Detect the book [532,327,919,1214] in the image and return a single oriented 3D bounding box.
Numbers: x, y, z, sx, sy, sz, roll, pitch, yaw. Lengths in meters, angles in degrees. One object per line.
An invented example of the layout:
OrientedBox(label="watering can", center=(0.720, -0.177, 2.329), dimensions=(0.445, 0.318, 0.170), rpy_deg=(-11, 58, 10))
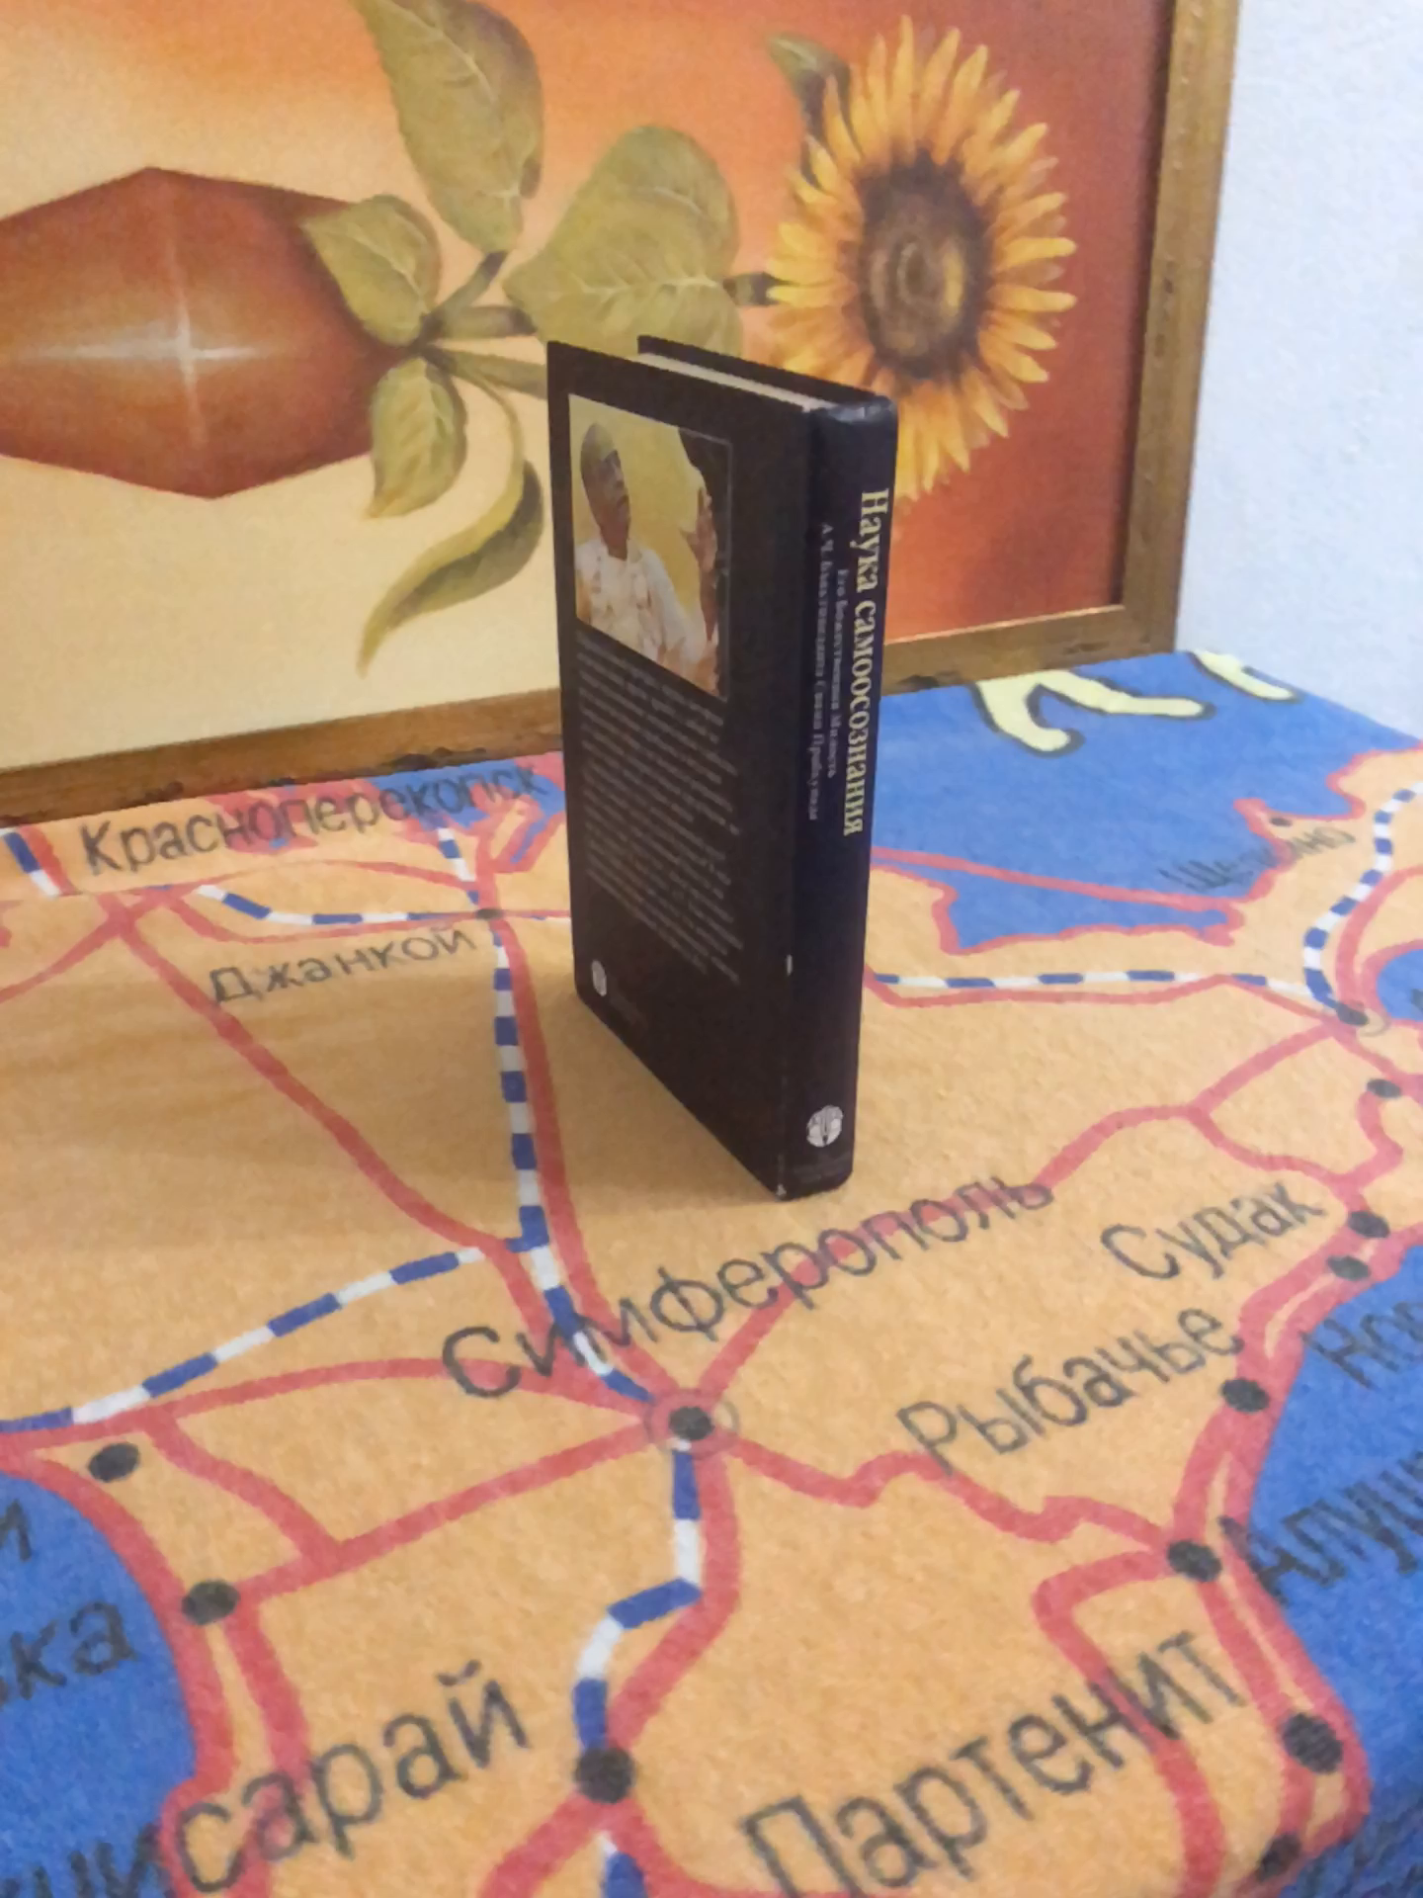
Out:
OrientedBox(label="book", center=(-0.002, -0.053, 0.429), dimensions=(0.030, 0.205, 0.141), rpy_deg=(-15, 31, -25))
